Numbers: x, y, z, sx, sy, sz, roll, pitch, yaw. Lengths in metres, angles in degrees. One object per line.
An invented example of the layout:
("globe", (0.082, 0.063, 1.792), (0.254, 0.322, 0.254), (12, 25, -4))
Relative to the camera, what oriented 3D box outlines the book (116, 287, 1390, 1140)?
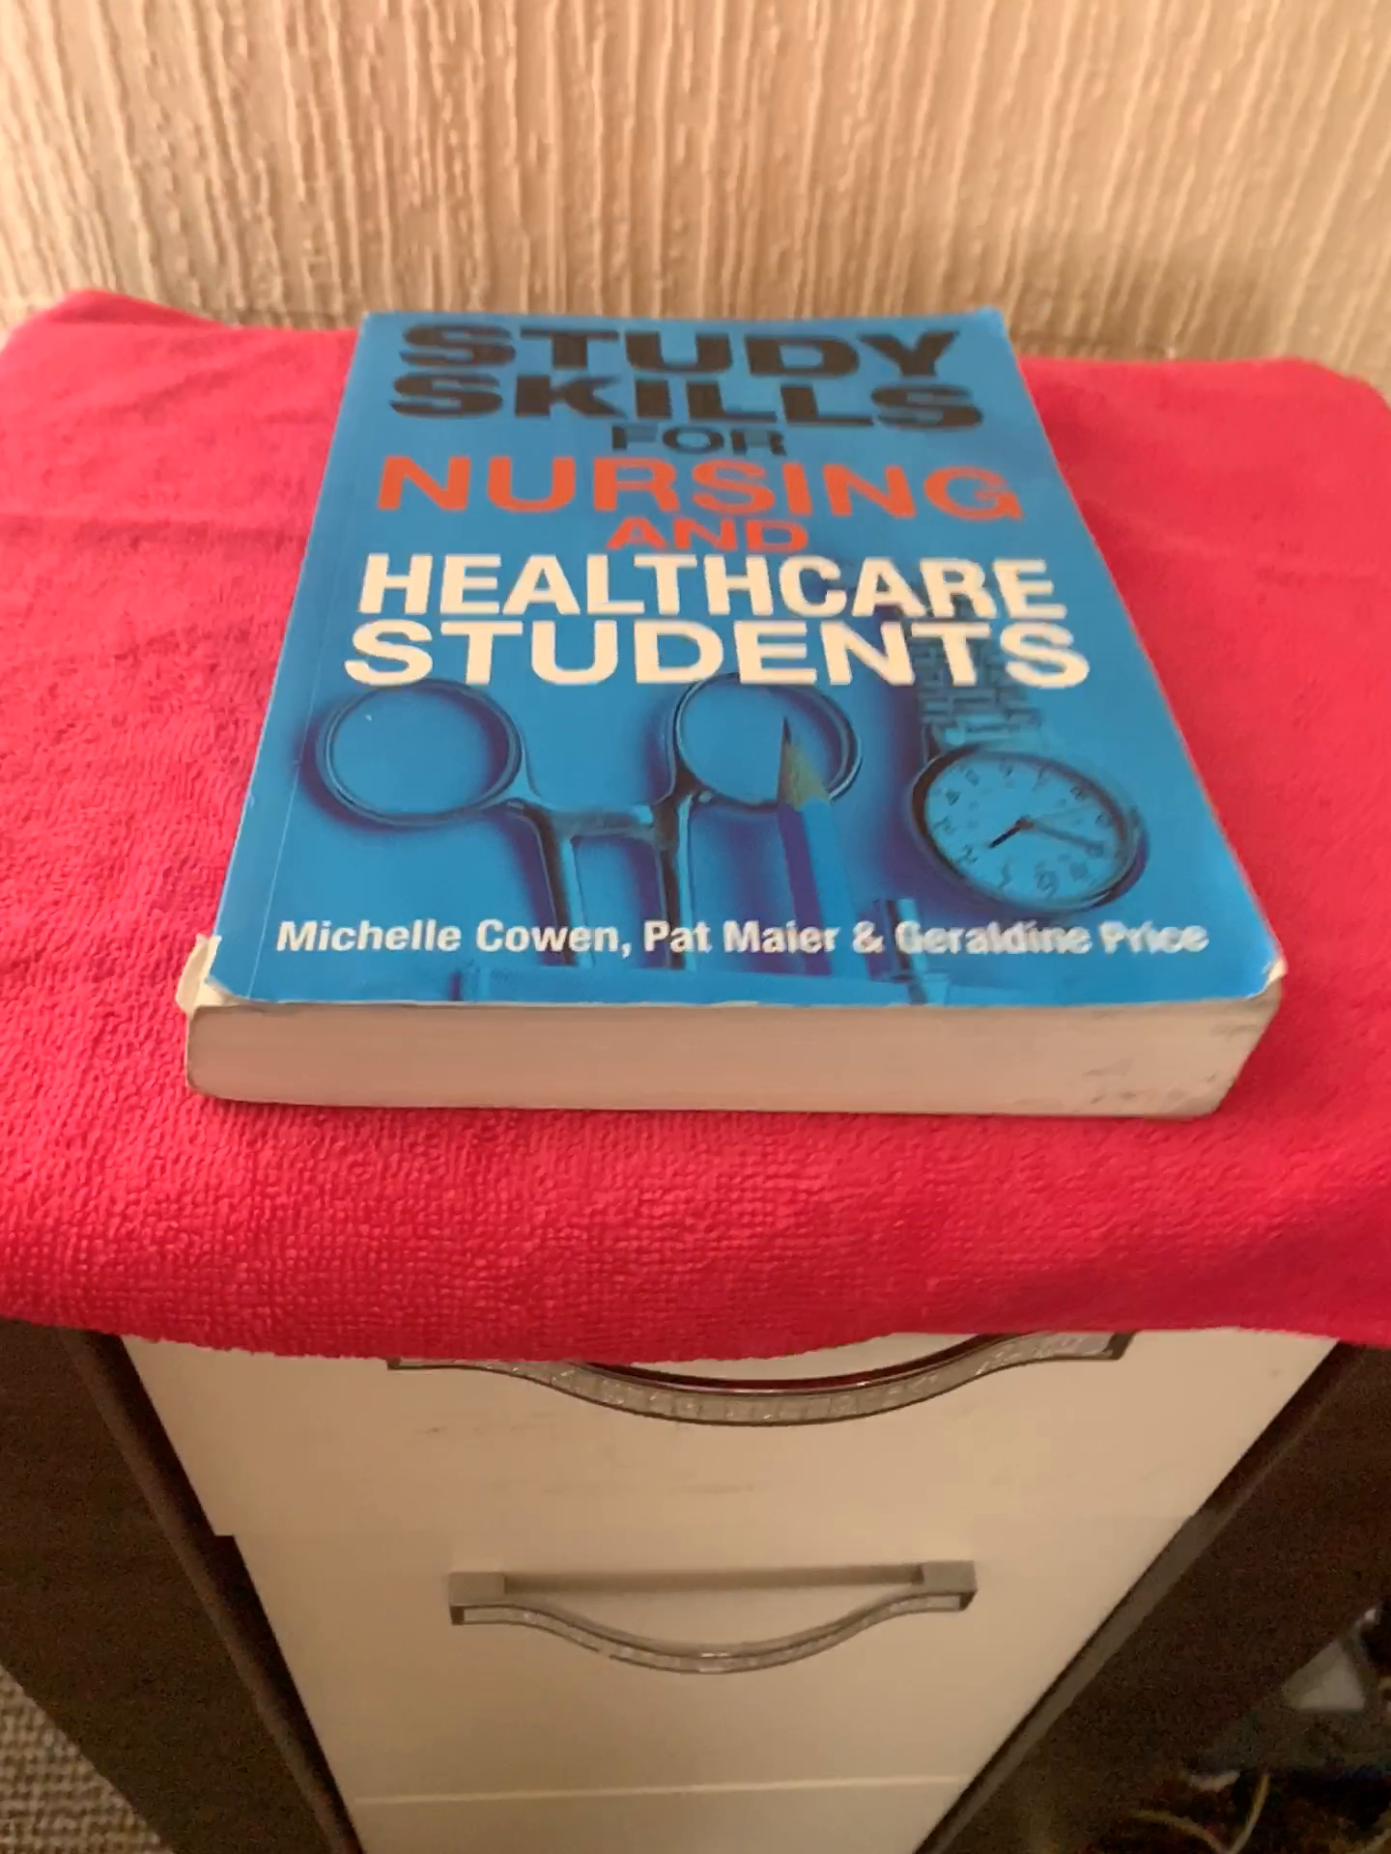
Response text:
("book", (0.007, -0.073, 0.334), (0.200, 0.040, 0.272), (1, 44, -4))
